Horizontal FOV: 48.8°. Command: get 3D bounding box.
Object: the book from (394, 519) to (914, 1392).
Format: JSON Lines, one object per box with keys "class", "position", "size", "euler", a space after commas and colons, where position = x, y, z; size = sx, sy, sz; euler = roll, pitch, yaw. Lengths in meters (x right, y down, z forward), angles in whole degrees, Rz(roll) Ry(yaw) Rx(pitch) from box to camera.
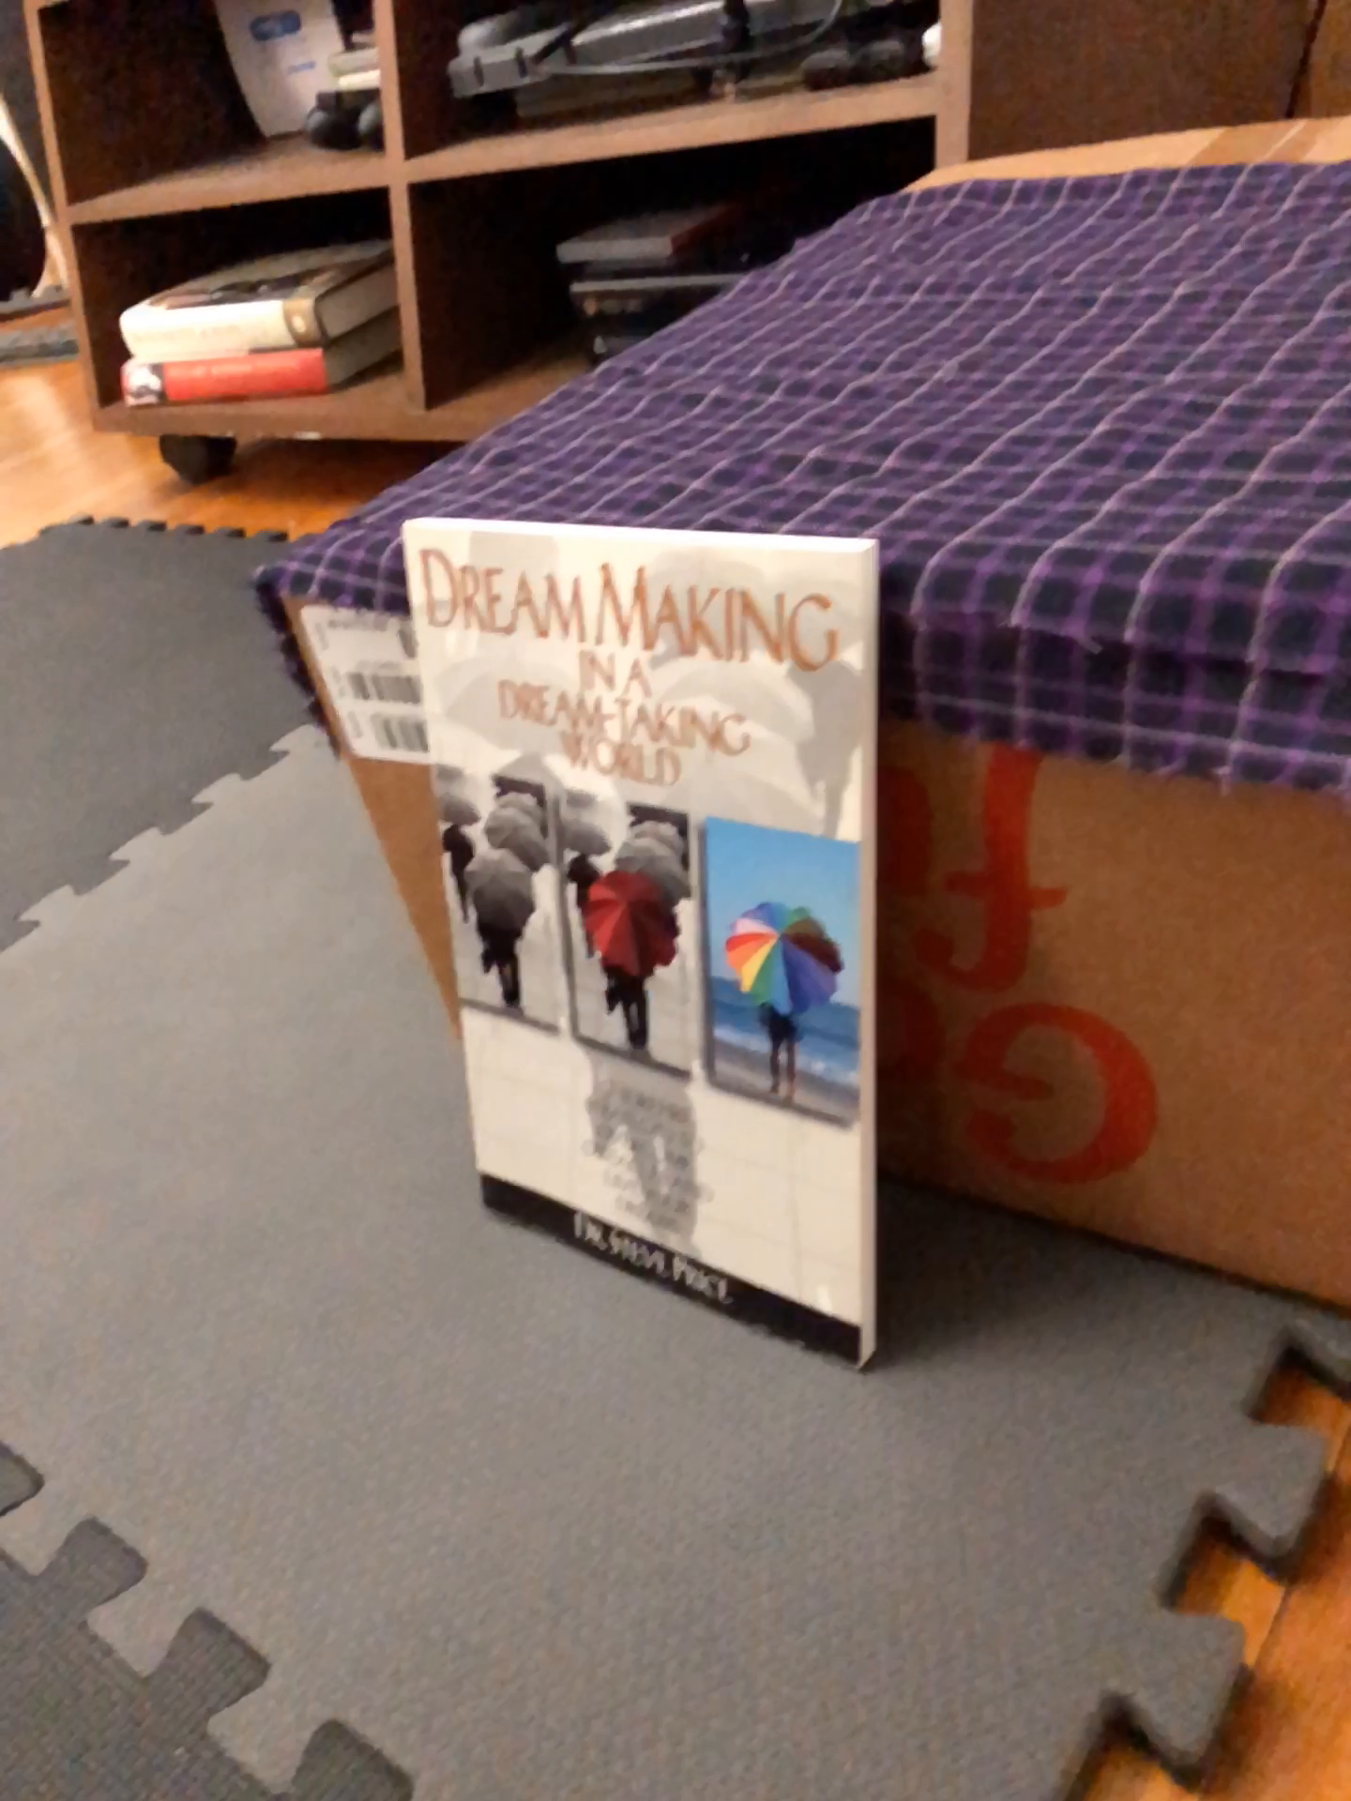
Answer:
{"class": "book", "position": [-0.006, 0.011, 0.409], "size": [0.150, 0.219, 0.020], "euler": [13, 27, 38]}
